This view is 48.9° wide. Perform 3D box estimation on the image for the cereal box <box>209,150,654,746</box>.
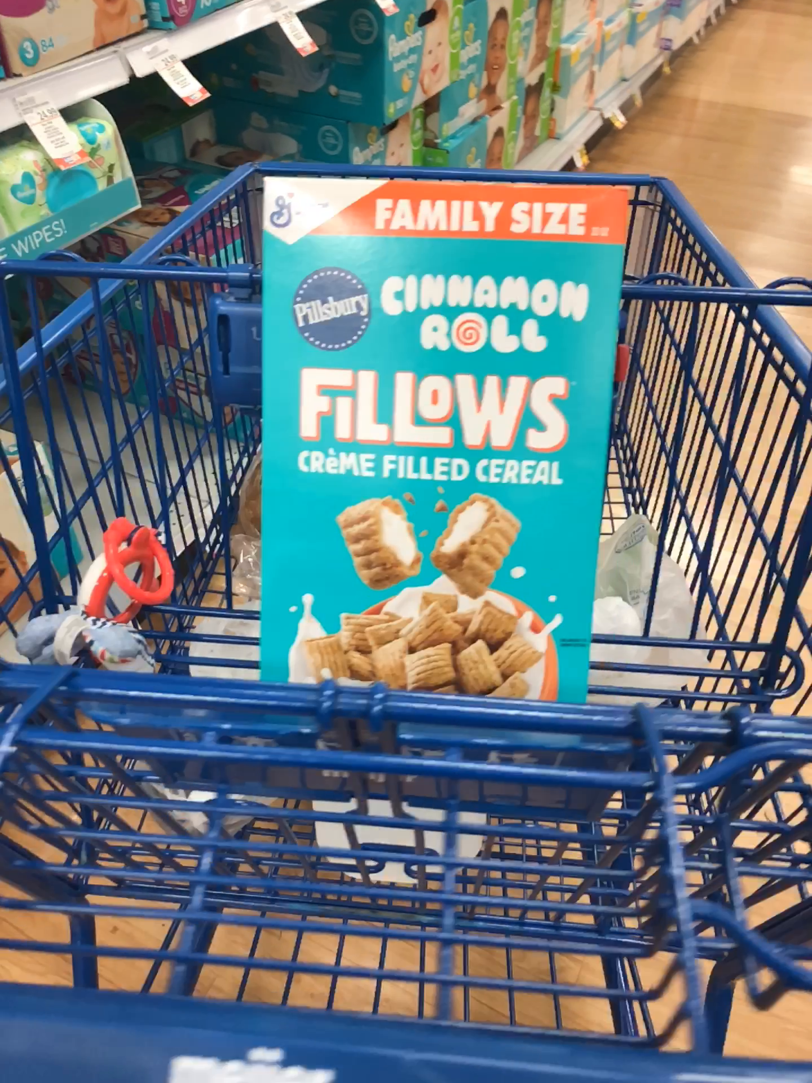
[{"bbox_3d":[0.008,-0.046,0.483,0.210,0.290,0.060,3,8,2],"label":"cereal box"}]
